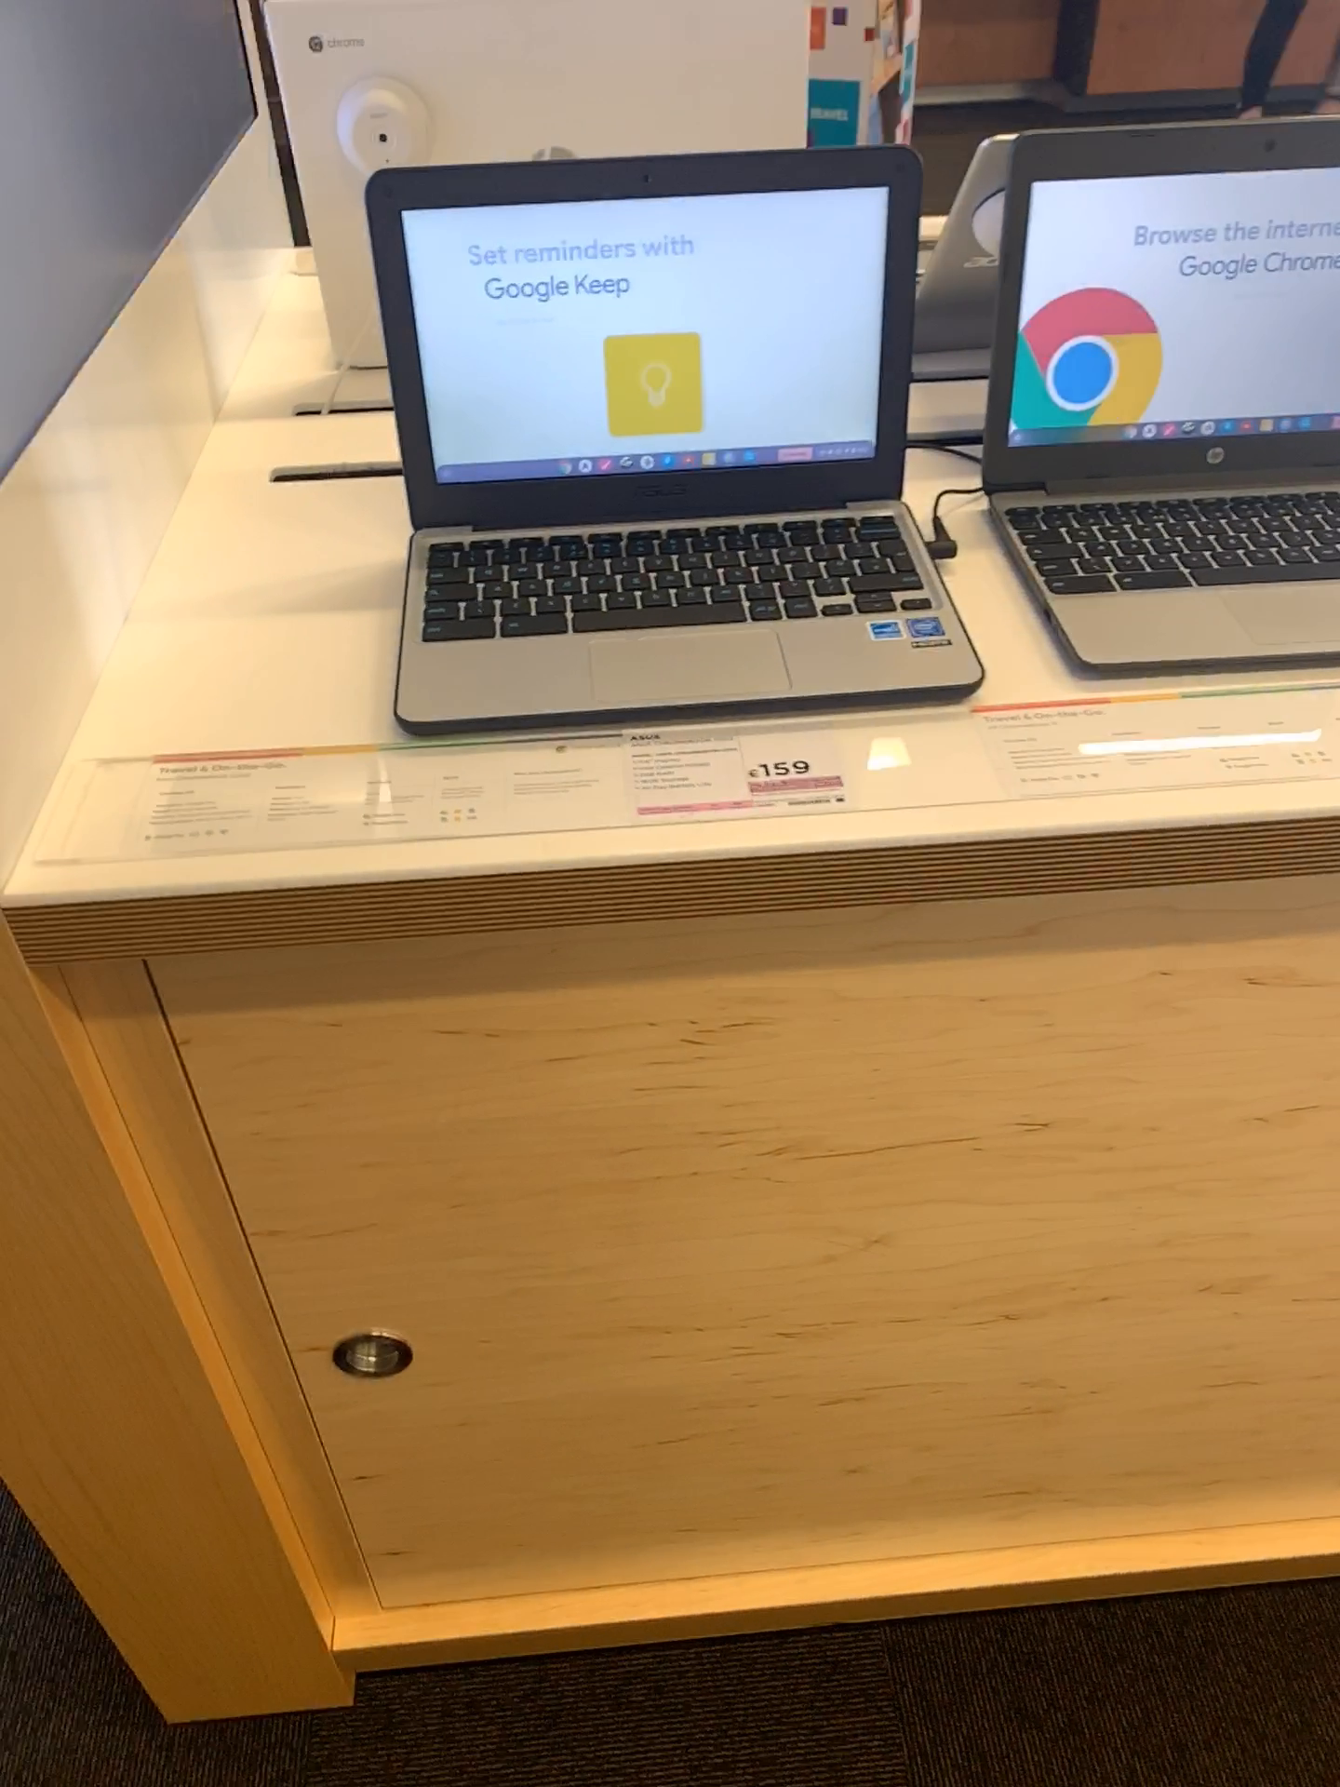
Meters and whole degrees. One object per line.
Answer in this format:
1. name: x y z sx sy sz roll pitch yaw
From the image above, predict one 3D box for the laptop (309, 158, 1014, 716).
1. laptop: -0.010 -0.234 0.684 0.280 0.183 0.217 -4 40 -3
